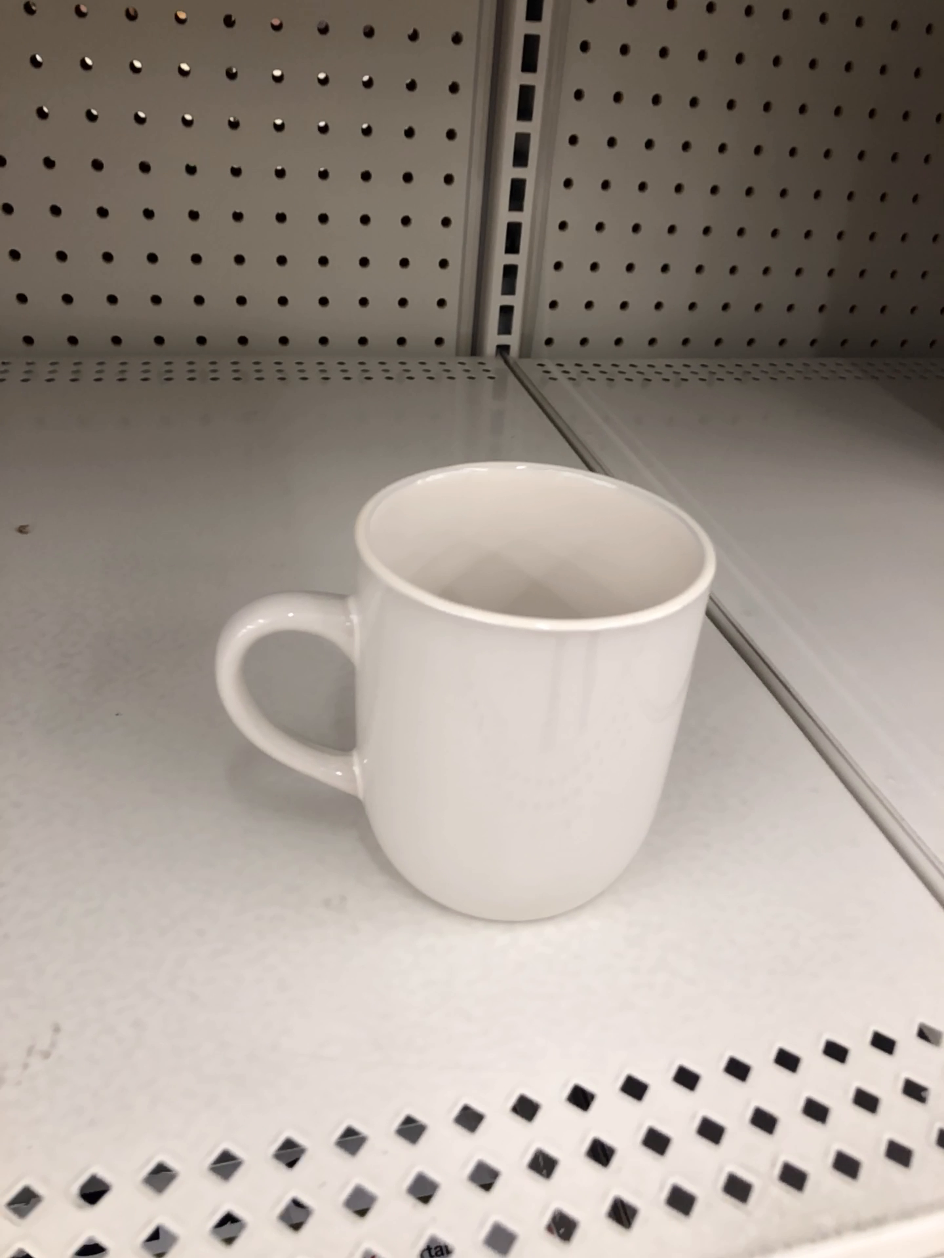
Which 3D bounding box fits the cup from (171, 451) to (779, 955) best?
[{"bbox_3d":[-0.005,0.015,0.265,0.121,0.090,0.087,0,30,-8],"label":"cup"}]
